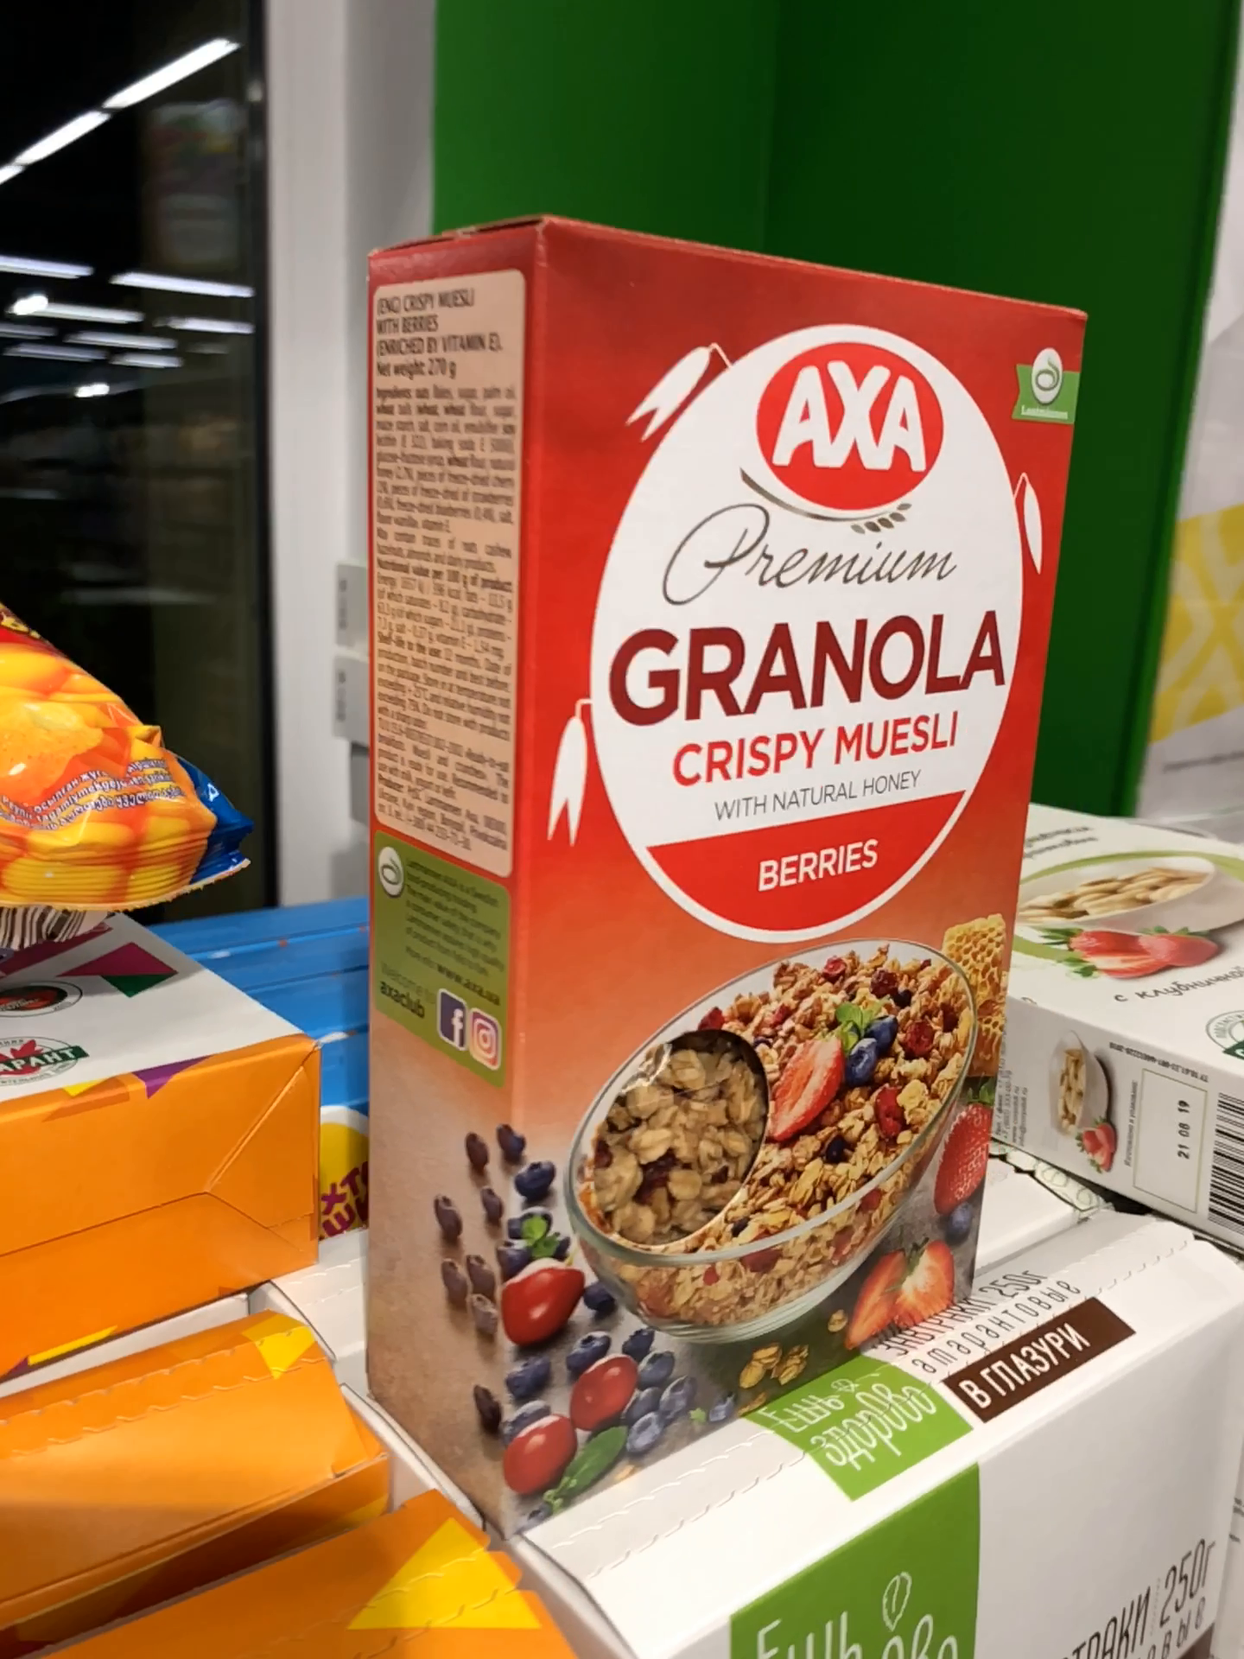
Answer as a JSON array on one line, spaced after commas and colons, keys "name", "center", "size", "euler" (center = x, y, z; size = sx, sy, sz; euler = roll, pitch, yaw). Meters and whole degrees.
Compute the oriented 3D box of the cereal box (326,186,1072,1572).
[{"name": "cereal box", "center": [0.014, 0.007, 0.268], "size": [0.130, 0.219, 0.050], "euler": [-8, 18, -38]}]
